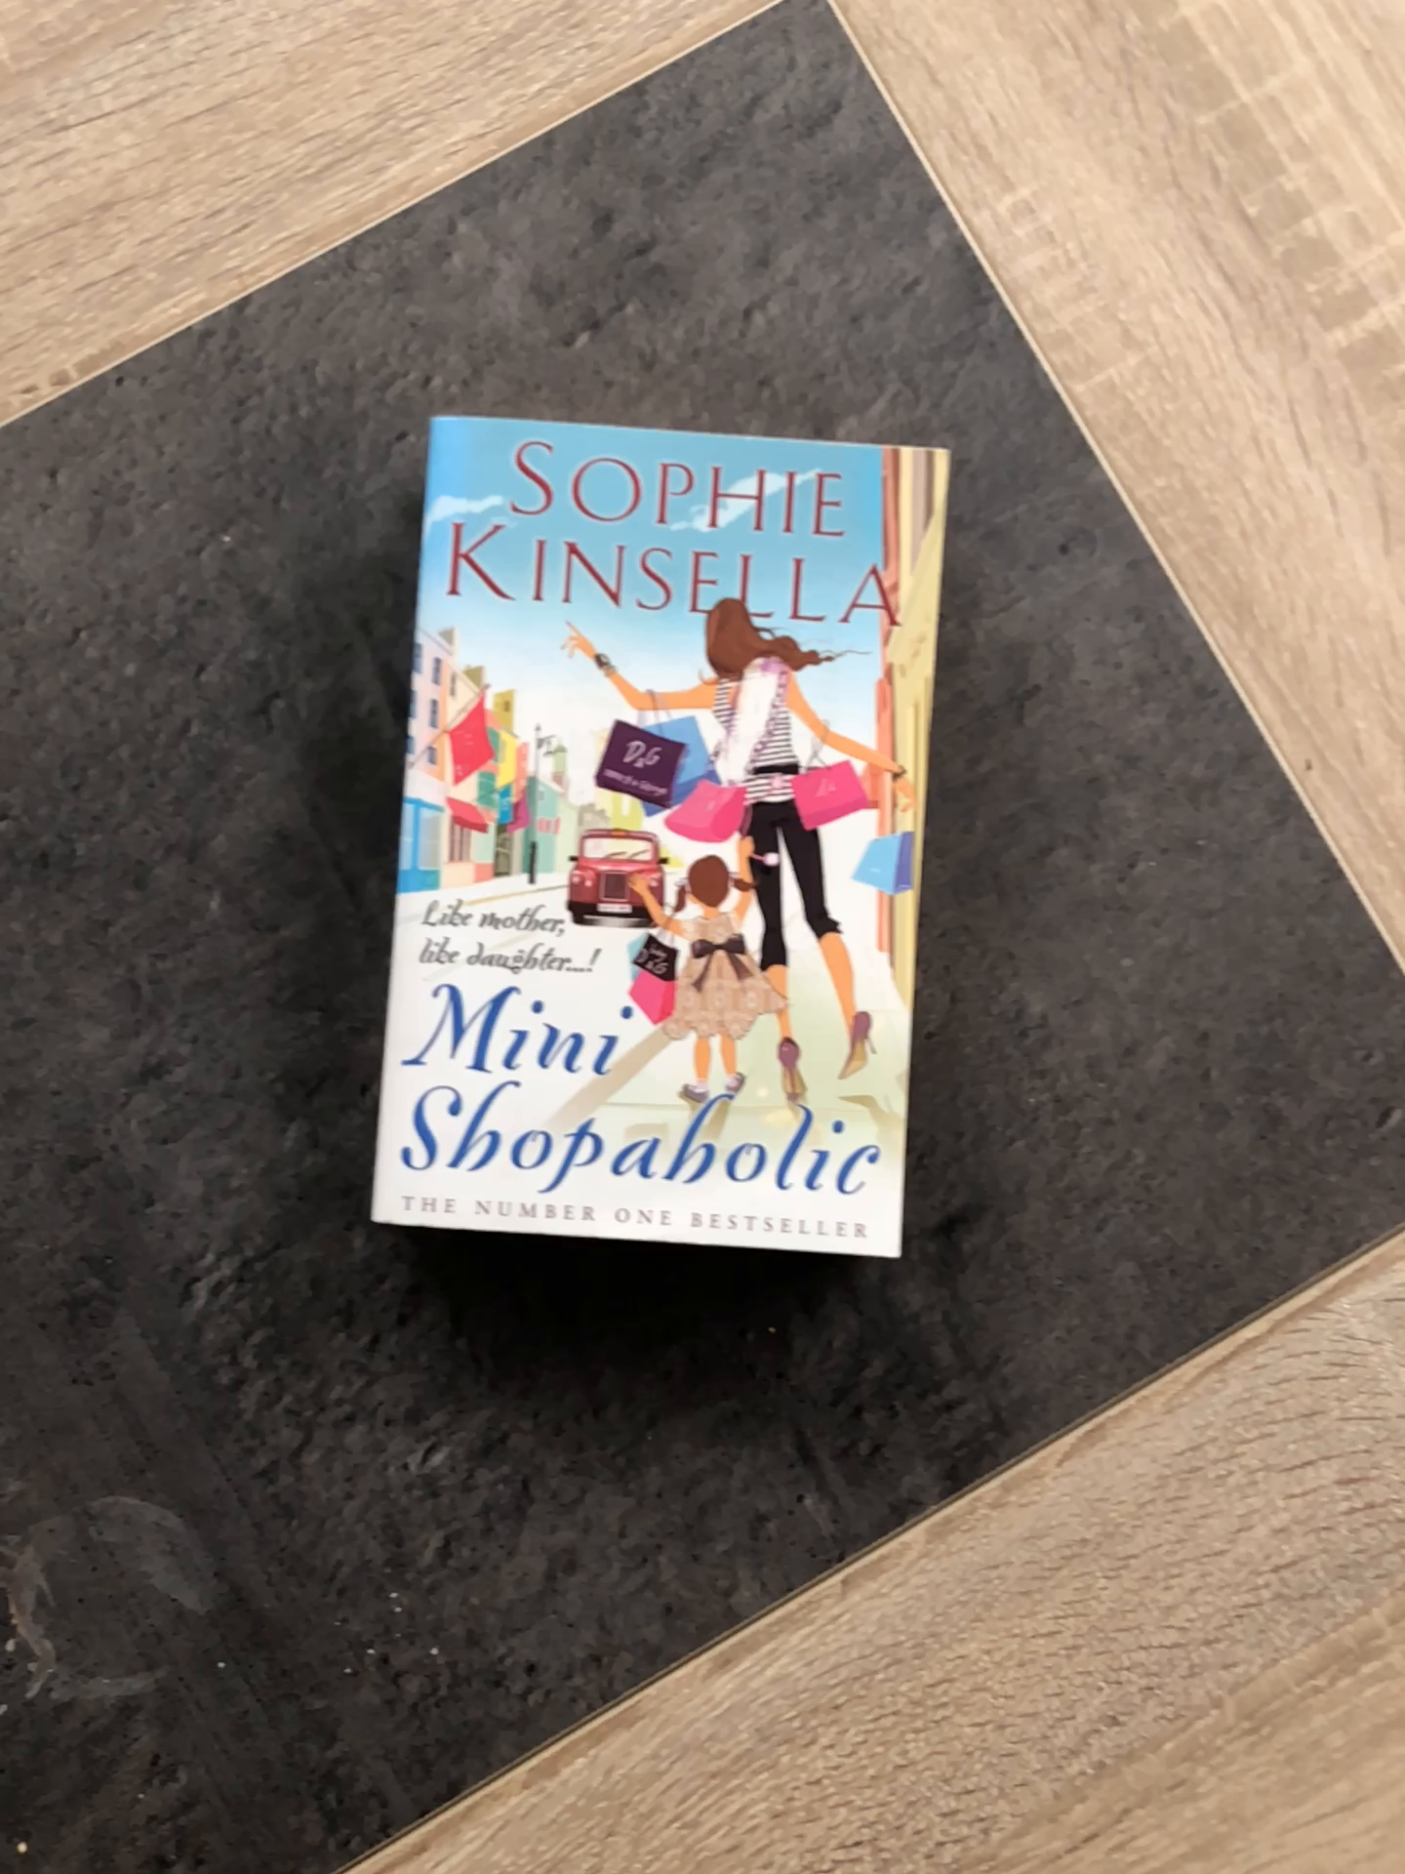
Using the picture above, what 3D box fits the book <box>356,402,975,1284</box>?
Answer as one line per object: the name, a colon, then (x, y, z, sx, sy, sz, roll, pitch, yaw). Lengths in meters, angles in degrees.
book: (-0.007, -0.023, 0.384, 0.132, 0.036, 0.200, 4, 87, 0)
